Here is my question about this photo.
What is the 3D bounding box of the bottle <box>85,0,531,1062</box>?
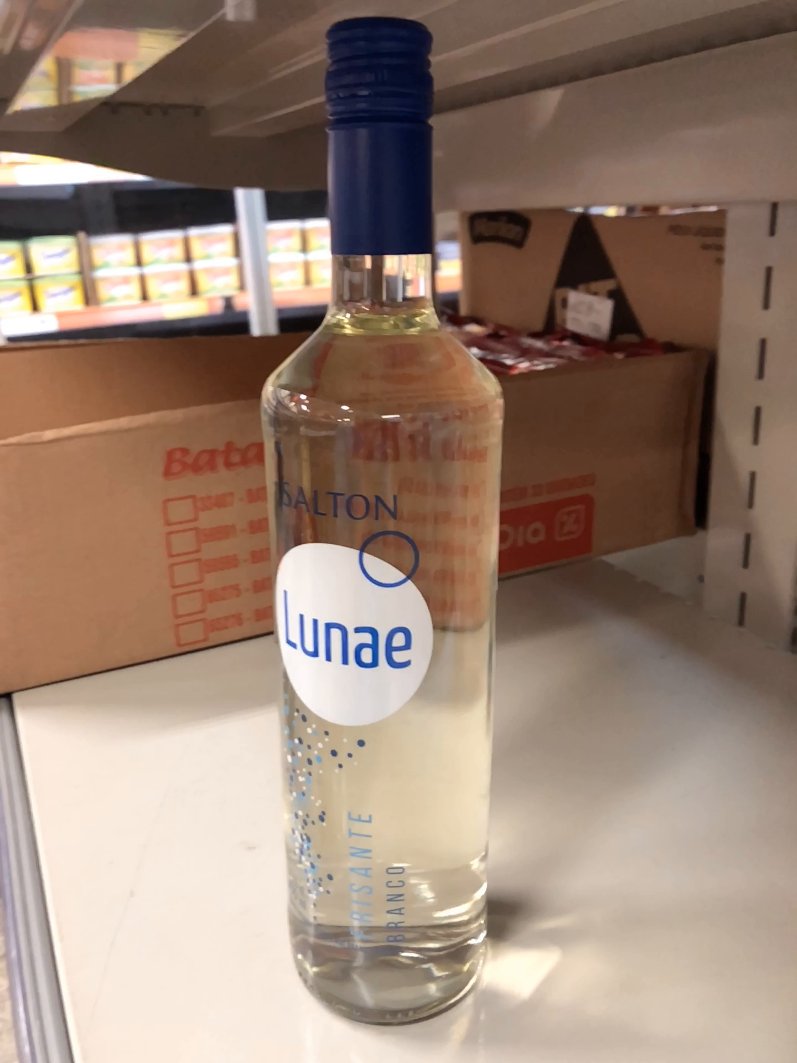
[{"bbox_3d":[-0.012,0.015,0.281,0.080,0.308,0.080,-4,20,1],"label":"bottle"}]
